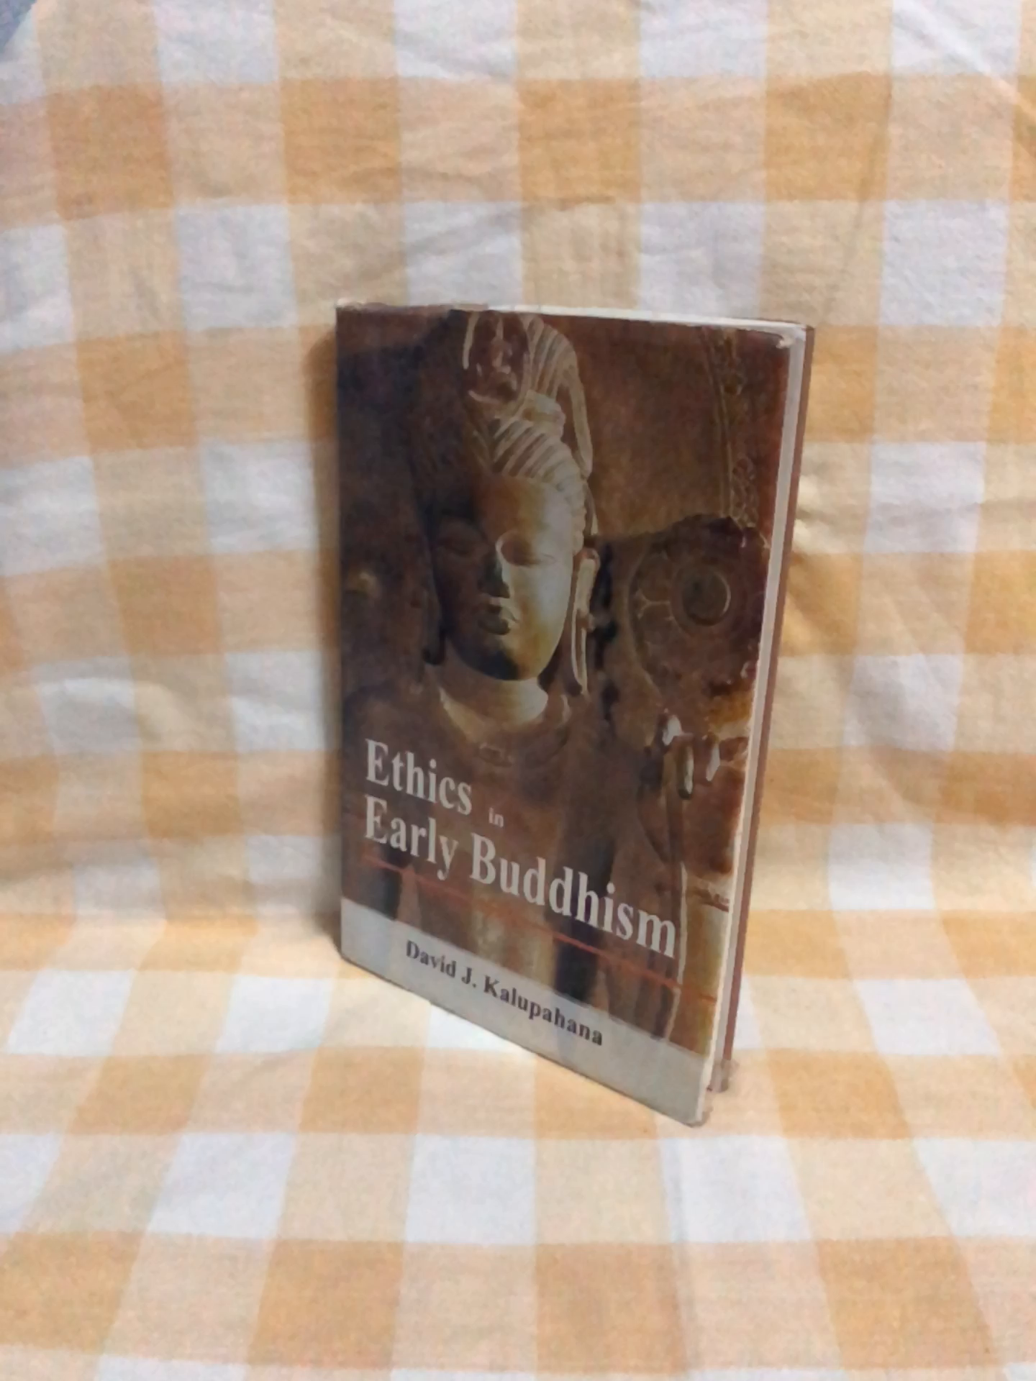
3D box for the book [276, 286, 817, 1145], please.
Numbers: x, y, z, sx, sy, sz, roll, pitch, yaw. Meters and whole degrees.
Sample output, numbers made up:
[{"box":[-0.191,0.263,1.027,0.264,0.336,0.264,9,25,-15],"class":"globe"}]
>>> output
[{"box":[-0.005,0.004,0.345,0.160,0.229,0.020,16,25,32],"class":"book"}]
